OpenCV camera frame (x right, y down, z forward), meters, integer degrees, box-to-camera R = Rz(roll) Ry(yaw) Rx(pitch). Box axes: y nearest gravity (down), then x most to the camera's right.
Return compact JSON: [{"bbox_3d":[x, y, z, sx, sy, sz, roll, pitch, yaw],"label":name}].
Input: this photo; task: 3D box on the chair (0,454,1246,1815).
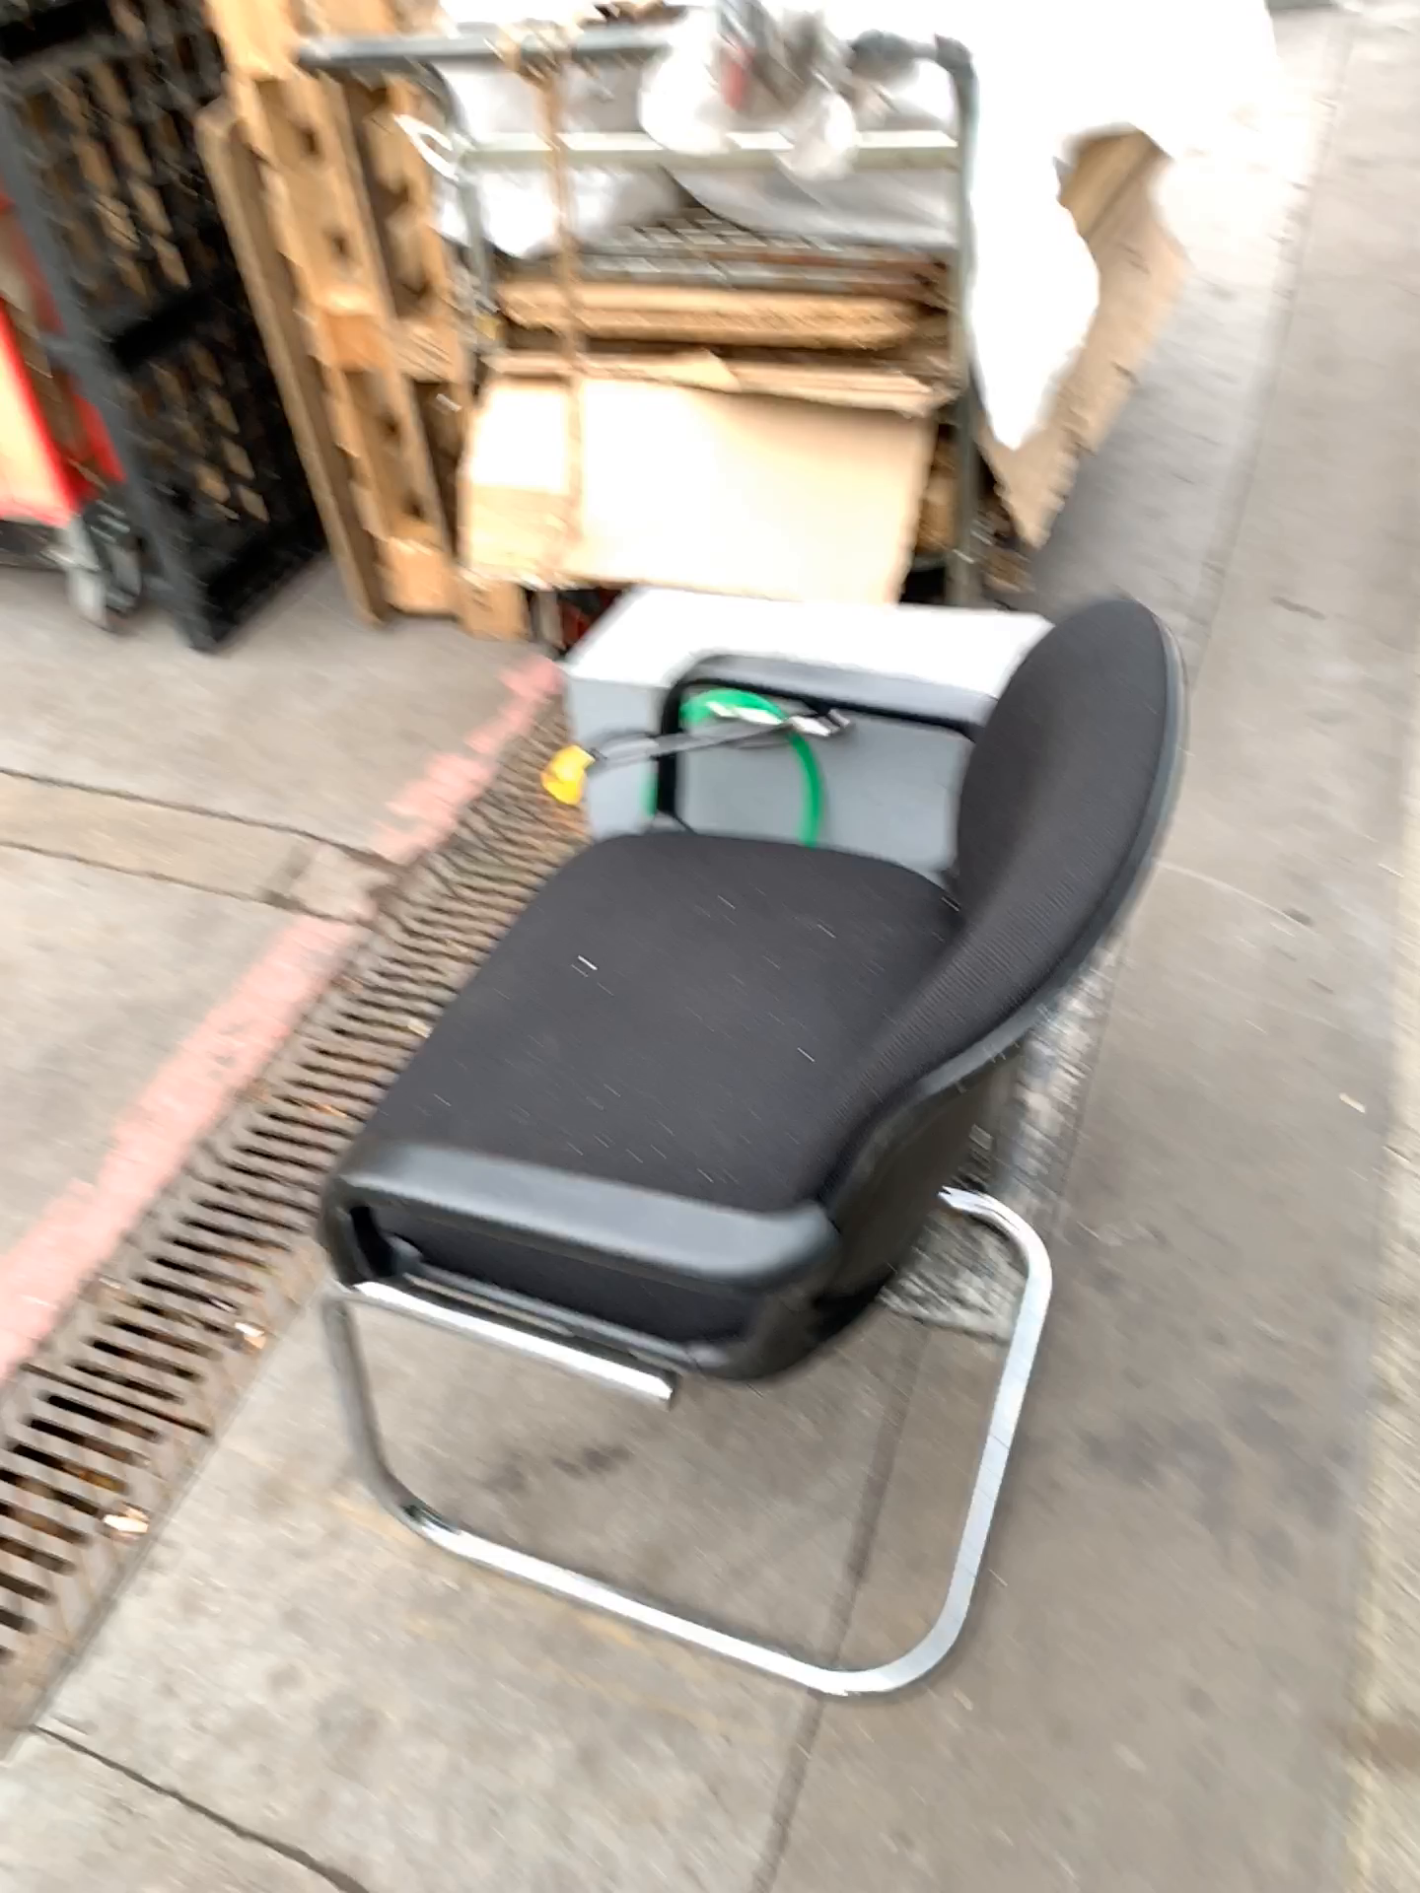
[{"bbox_3d":[0.004,0.128,1.110,0.601,0.753,0.564,12,46,20],"label":"chair"}]
